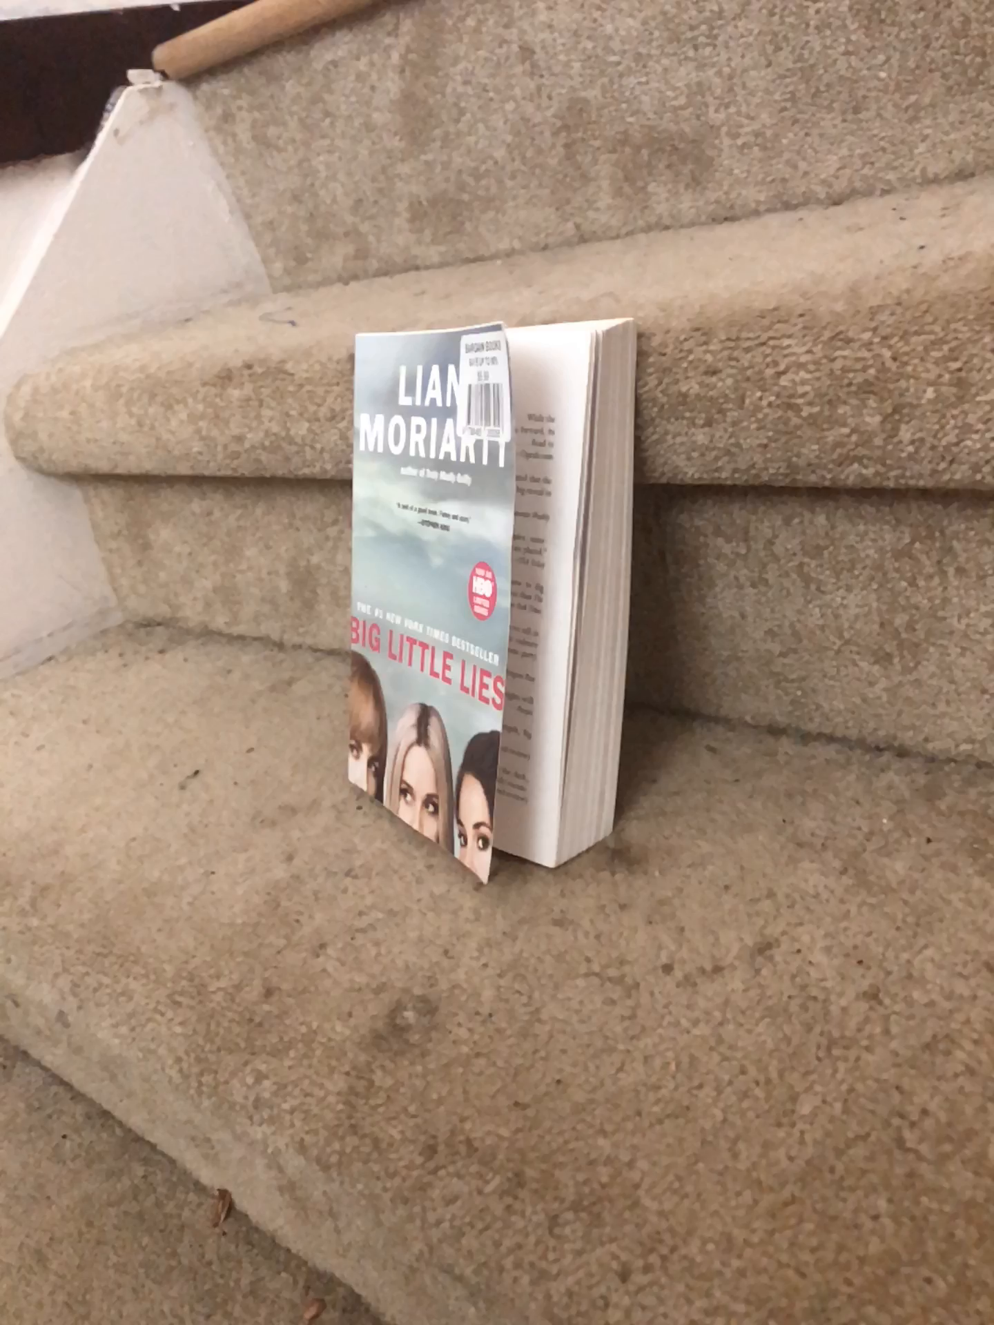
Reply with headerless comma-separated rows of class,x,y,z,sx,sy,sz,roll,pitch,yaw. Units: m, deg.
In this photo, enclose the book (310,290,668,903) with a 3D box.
book,-0.015,-0.035,0.446,0.050,0.209,0.161,-7,16,-37
